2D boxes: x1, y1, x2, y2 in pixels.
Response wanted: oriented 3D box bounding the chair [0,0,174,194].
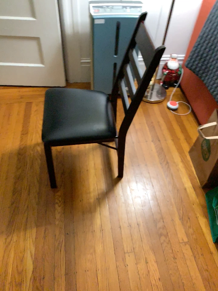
[{"bbox_3d":[-0.128,-0.210,1.154,0.550,0.866,0.492,-5,50,-8],"label":"chair"}]
